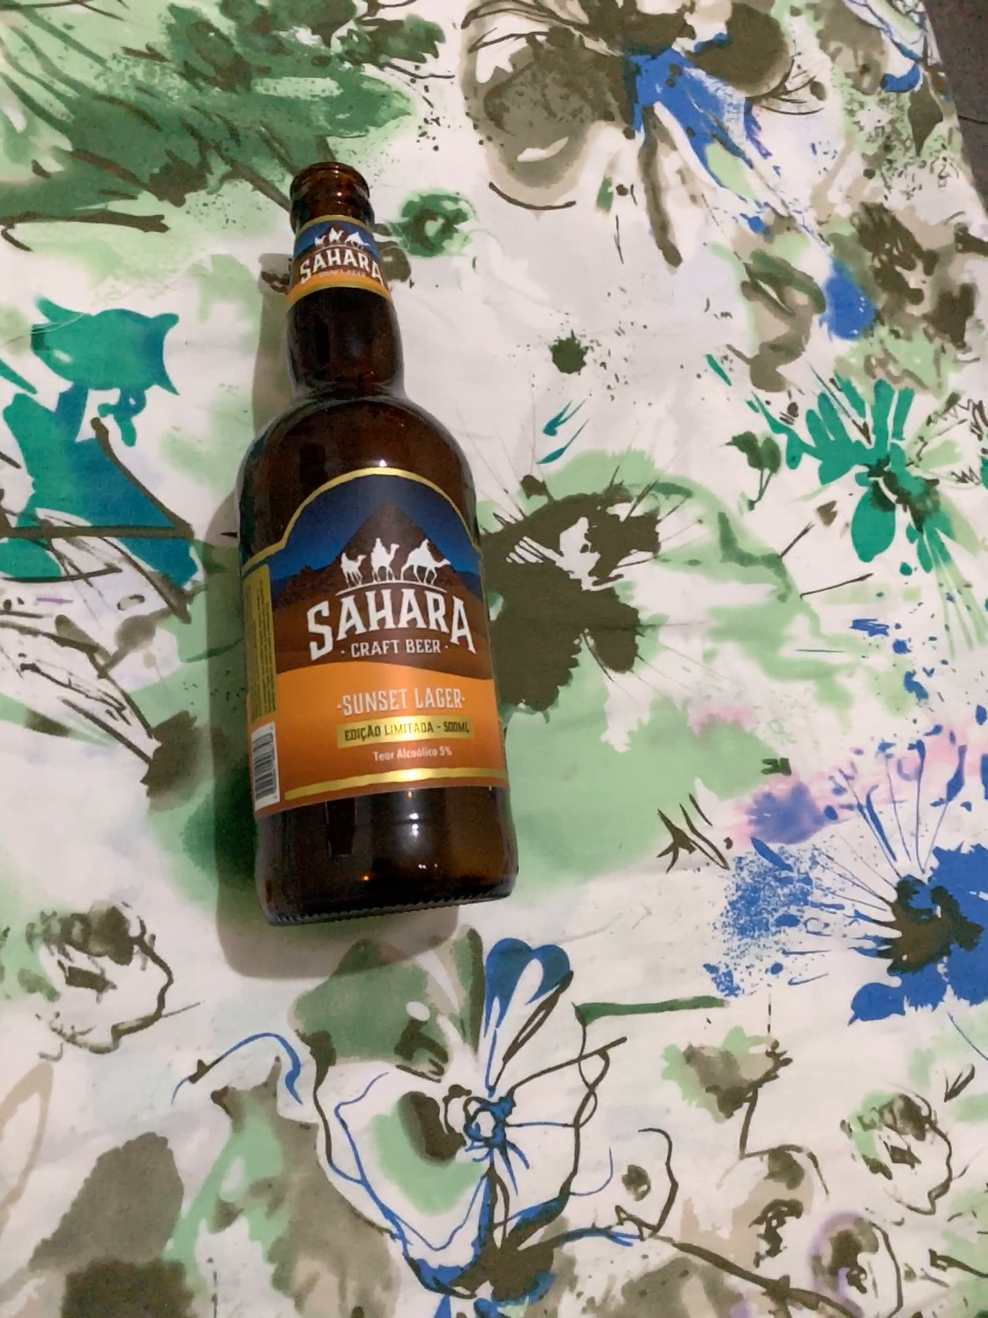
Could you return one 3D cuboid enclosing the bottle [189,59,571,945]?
[{"bbox_3d":[-0.044,-0.046,0.314,0.080,0.070,0.250,-1,75,-23],"label":"bottle"}]
